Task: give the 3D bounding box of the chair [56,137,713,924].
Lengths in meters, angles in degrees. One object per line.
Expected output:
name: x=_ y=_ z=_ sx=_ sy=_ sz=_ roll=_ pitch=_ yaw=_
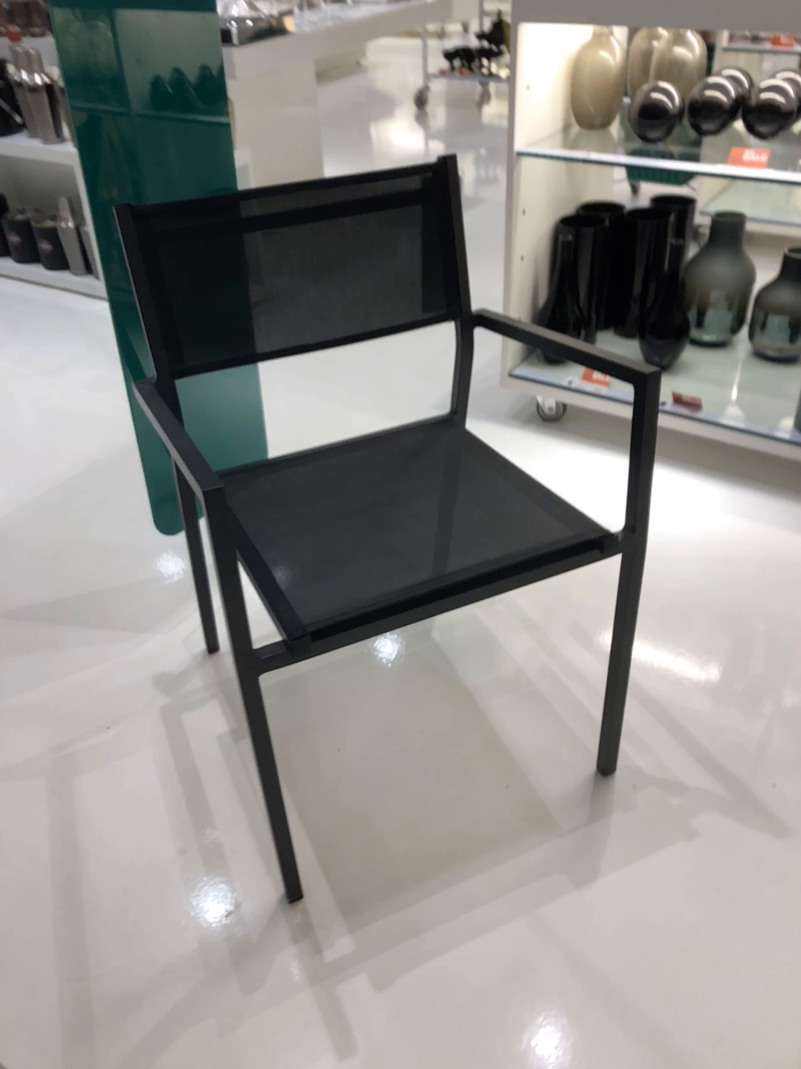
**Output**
chair: x=-0.054 y=-0.044 z=1.252 sx=0.571 sy=0.794 sz=0.604 roll=-16 pitch=38 yaw=-18
